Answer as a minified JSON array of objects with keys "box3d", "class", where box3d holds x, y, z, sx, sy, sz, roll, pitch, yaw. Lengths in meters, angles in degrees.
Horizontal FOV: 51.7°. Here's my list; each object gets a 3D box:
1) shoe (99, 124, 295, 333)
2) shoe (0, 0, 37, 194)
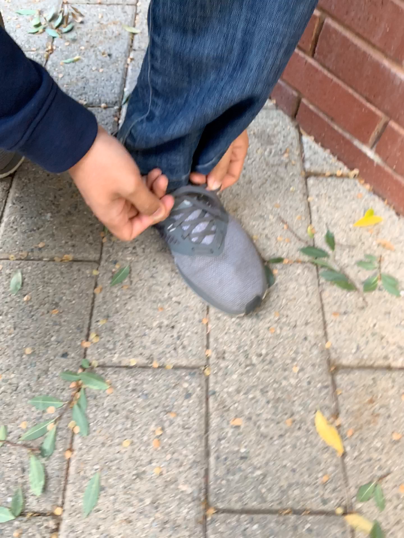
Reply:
[{"box3d":[-0.016,-0.064,0.578,0.111,0.083,0.280,-32,67,-18],"class":"shoe"},{"box3d":[-0.323,-0.262,0.607,0.115,0.274,0.098,8,20,4],"class":"shoe"}]
